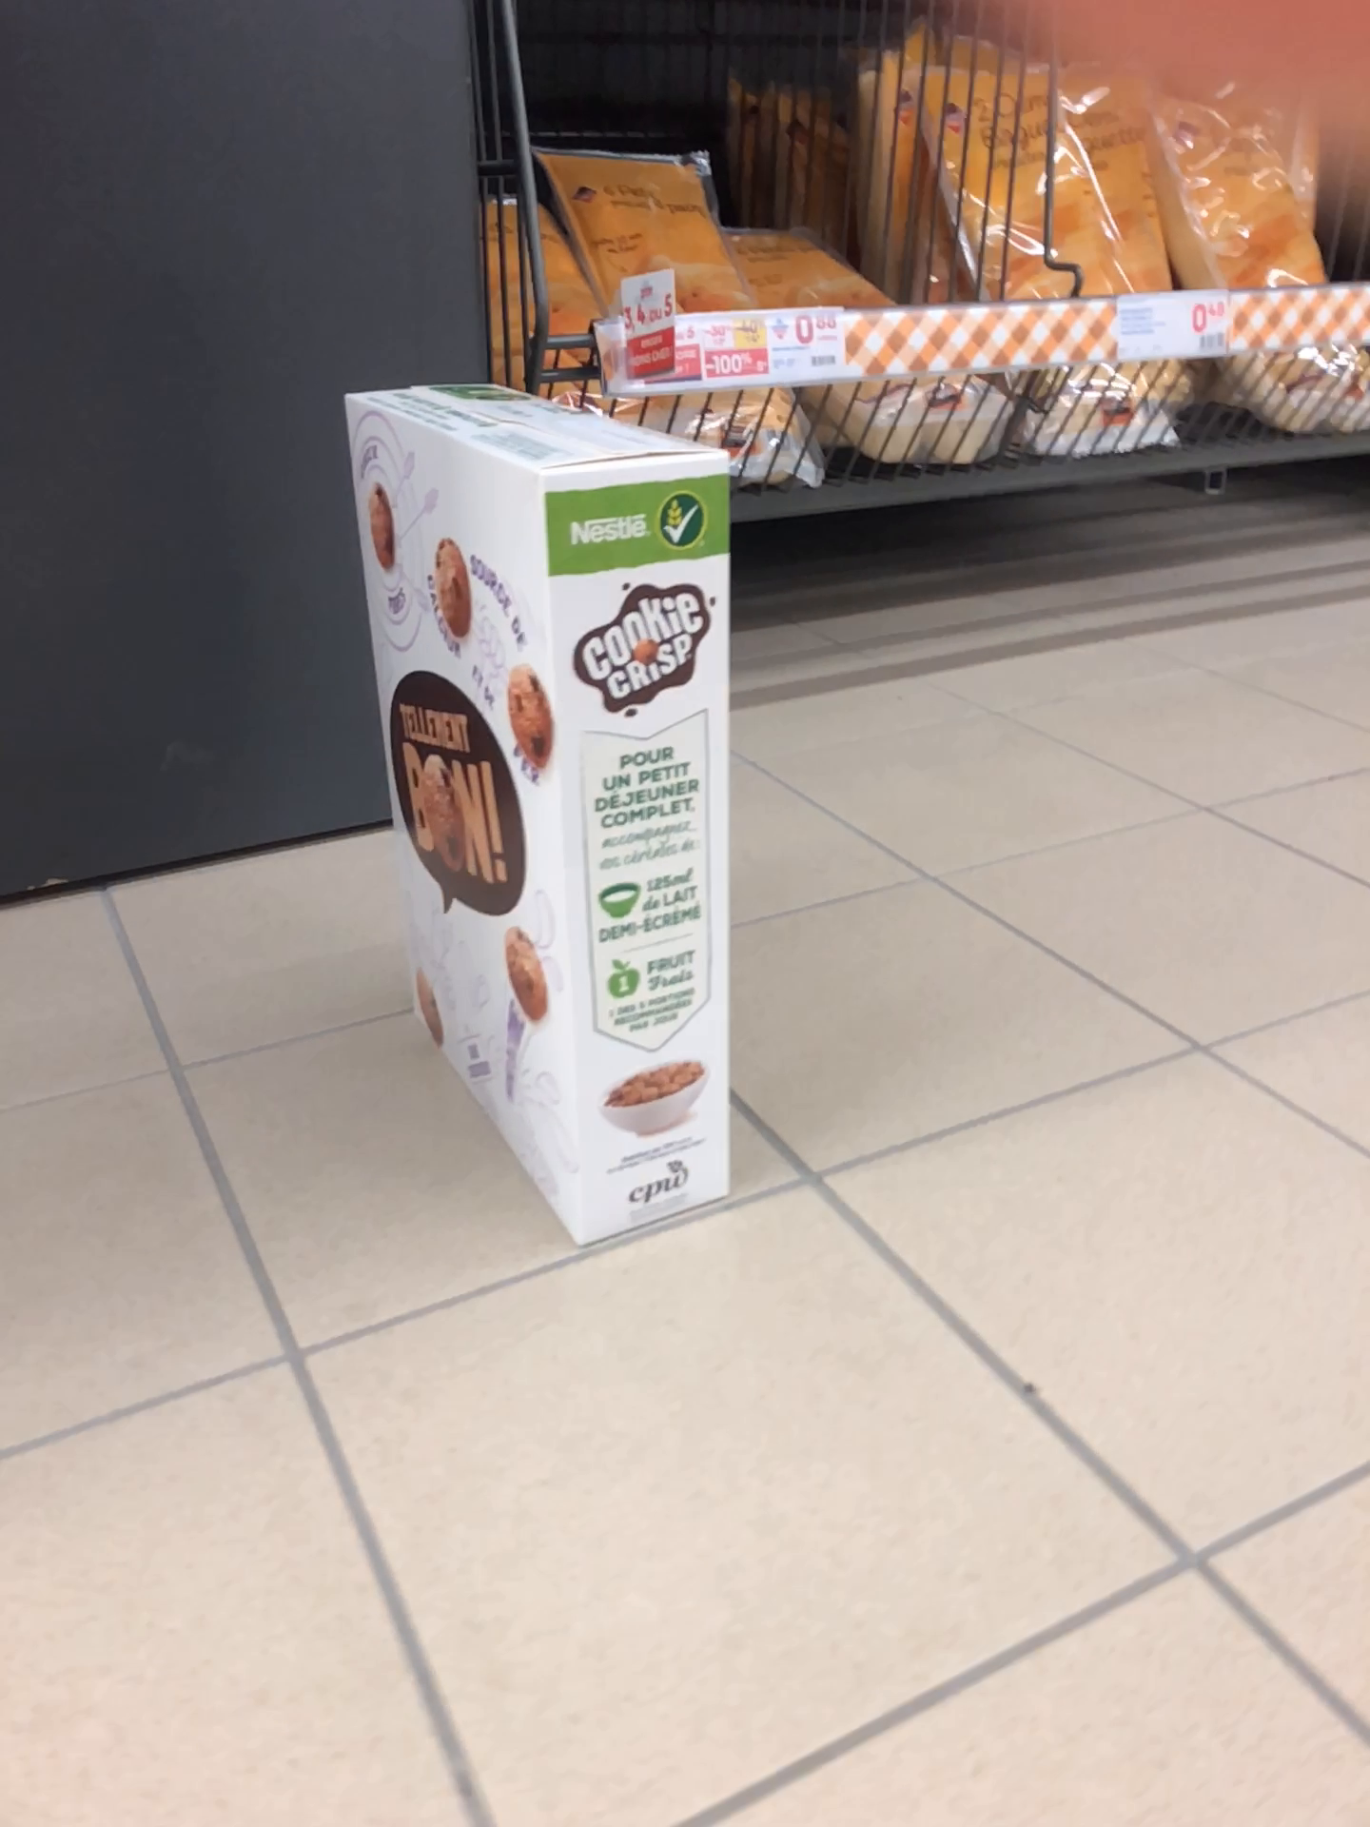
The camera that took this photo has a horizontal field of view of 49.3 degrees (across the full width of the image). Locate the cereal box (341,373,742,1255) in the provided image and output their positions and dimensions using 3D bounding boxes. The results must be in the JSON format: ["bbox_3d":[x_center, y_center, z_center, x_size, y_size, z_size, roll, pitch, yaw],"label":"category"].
[{"bbox_3d":[-0.058,-0.047,0.557,0.060,0.268,0.201,-13,29,-25],"label":"cereal box"}]
